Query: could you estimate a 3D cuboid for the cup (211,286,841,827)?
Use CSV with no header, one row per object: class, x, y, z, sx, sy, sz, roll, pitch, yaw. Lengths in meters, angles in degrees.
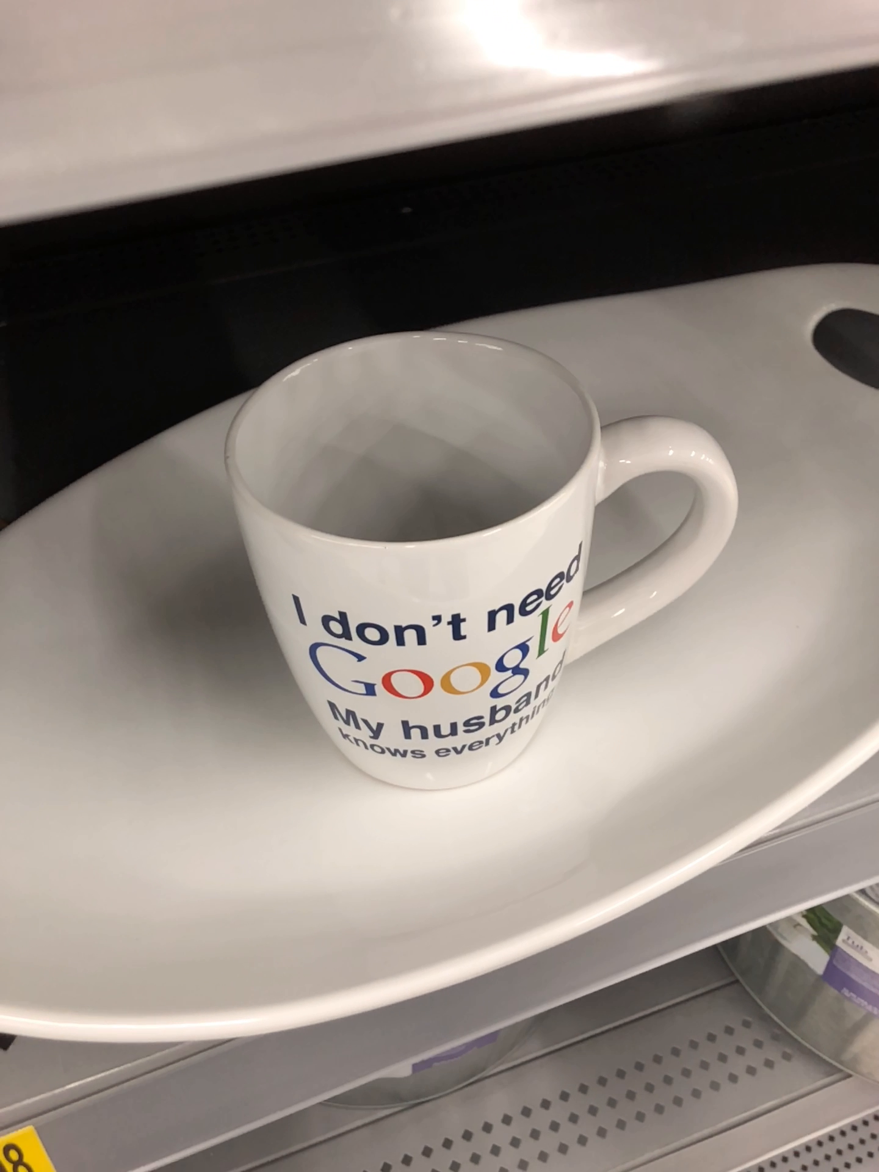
cup,0.017,-0.011,0.312,0.154,0.108,0.104,-9,45,-7
